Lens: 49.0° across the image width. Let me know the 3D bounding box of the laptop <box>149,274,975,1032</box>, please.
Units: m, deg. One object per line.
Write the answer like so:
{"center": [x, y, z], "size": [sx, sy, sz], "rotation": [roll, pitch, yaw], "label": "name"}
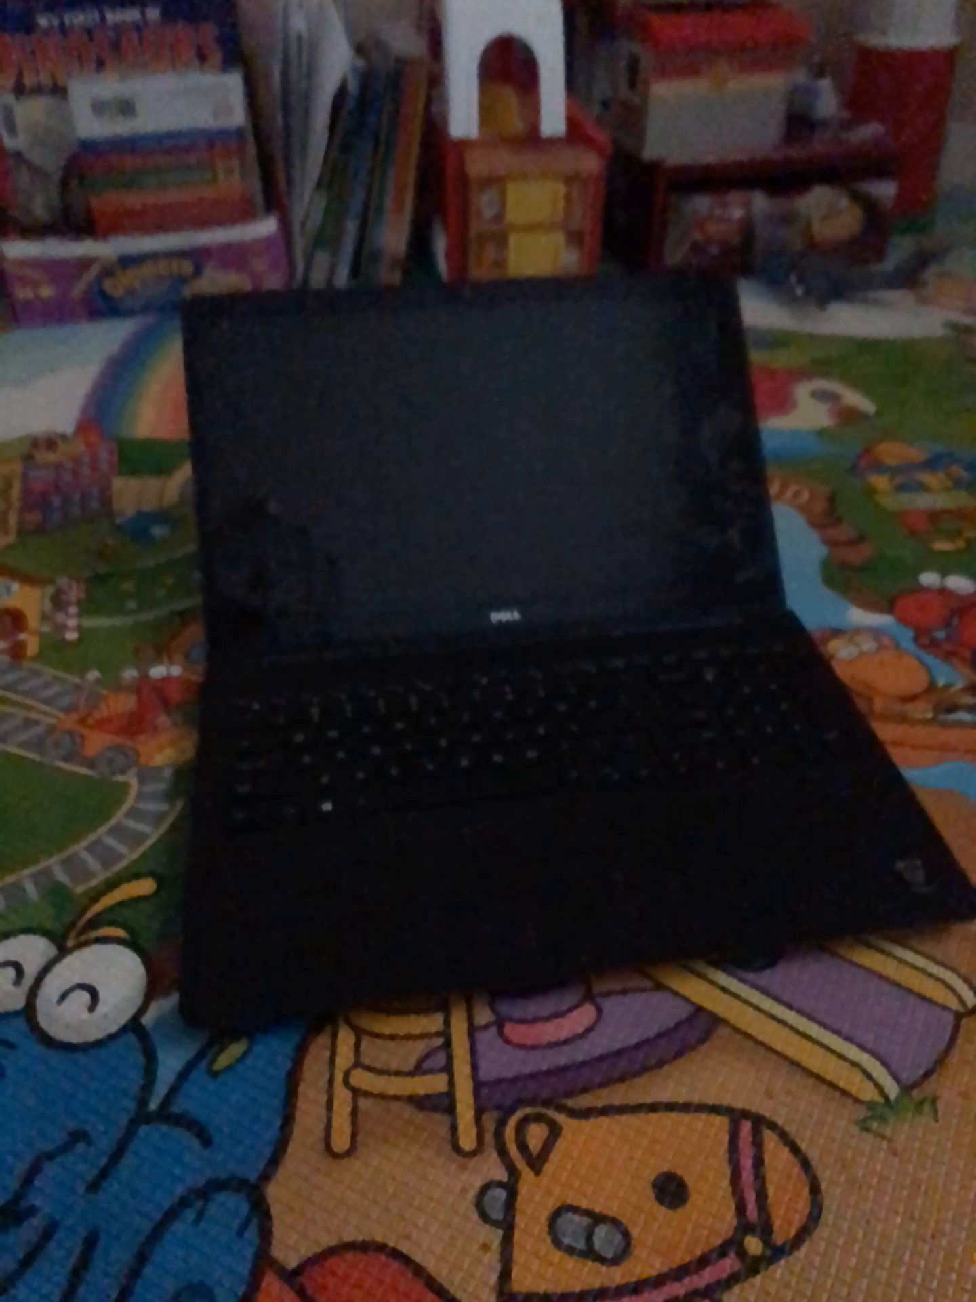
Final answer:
{"center": [0.025, -0.048, 0.606], "size": [0.361, 0.158, 0.431], "rotation": [-6, 39, -7], "label": "laptop"}
